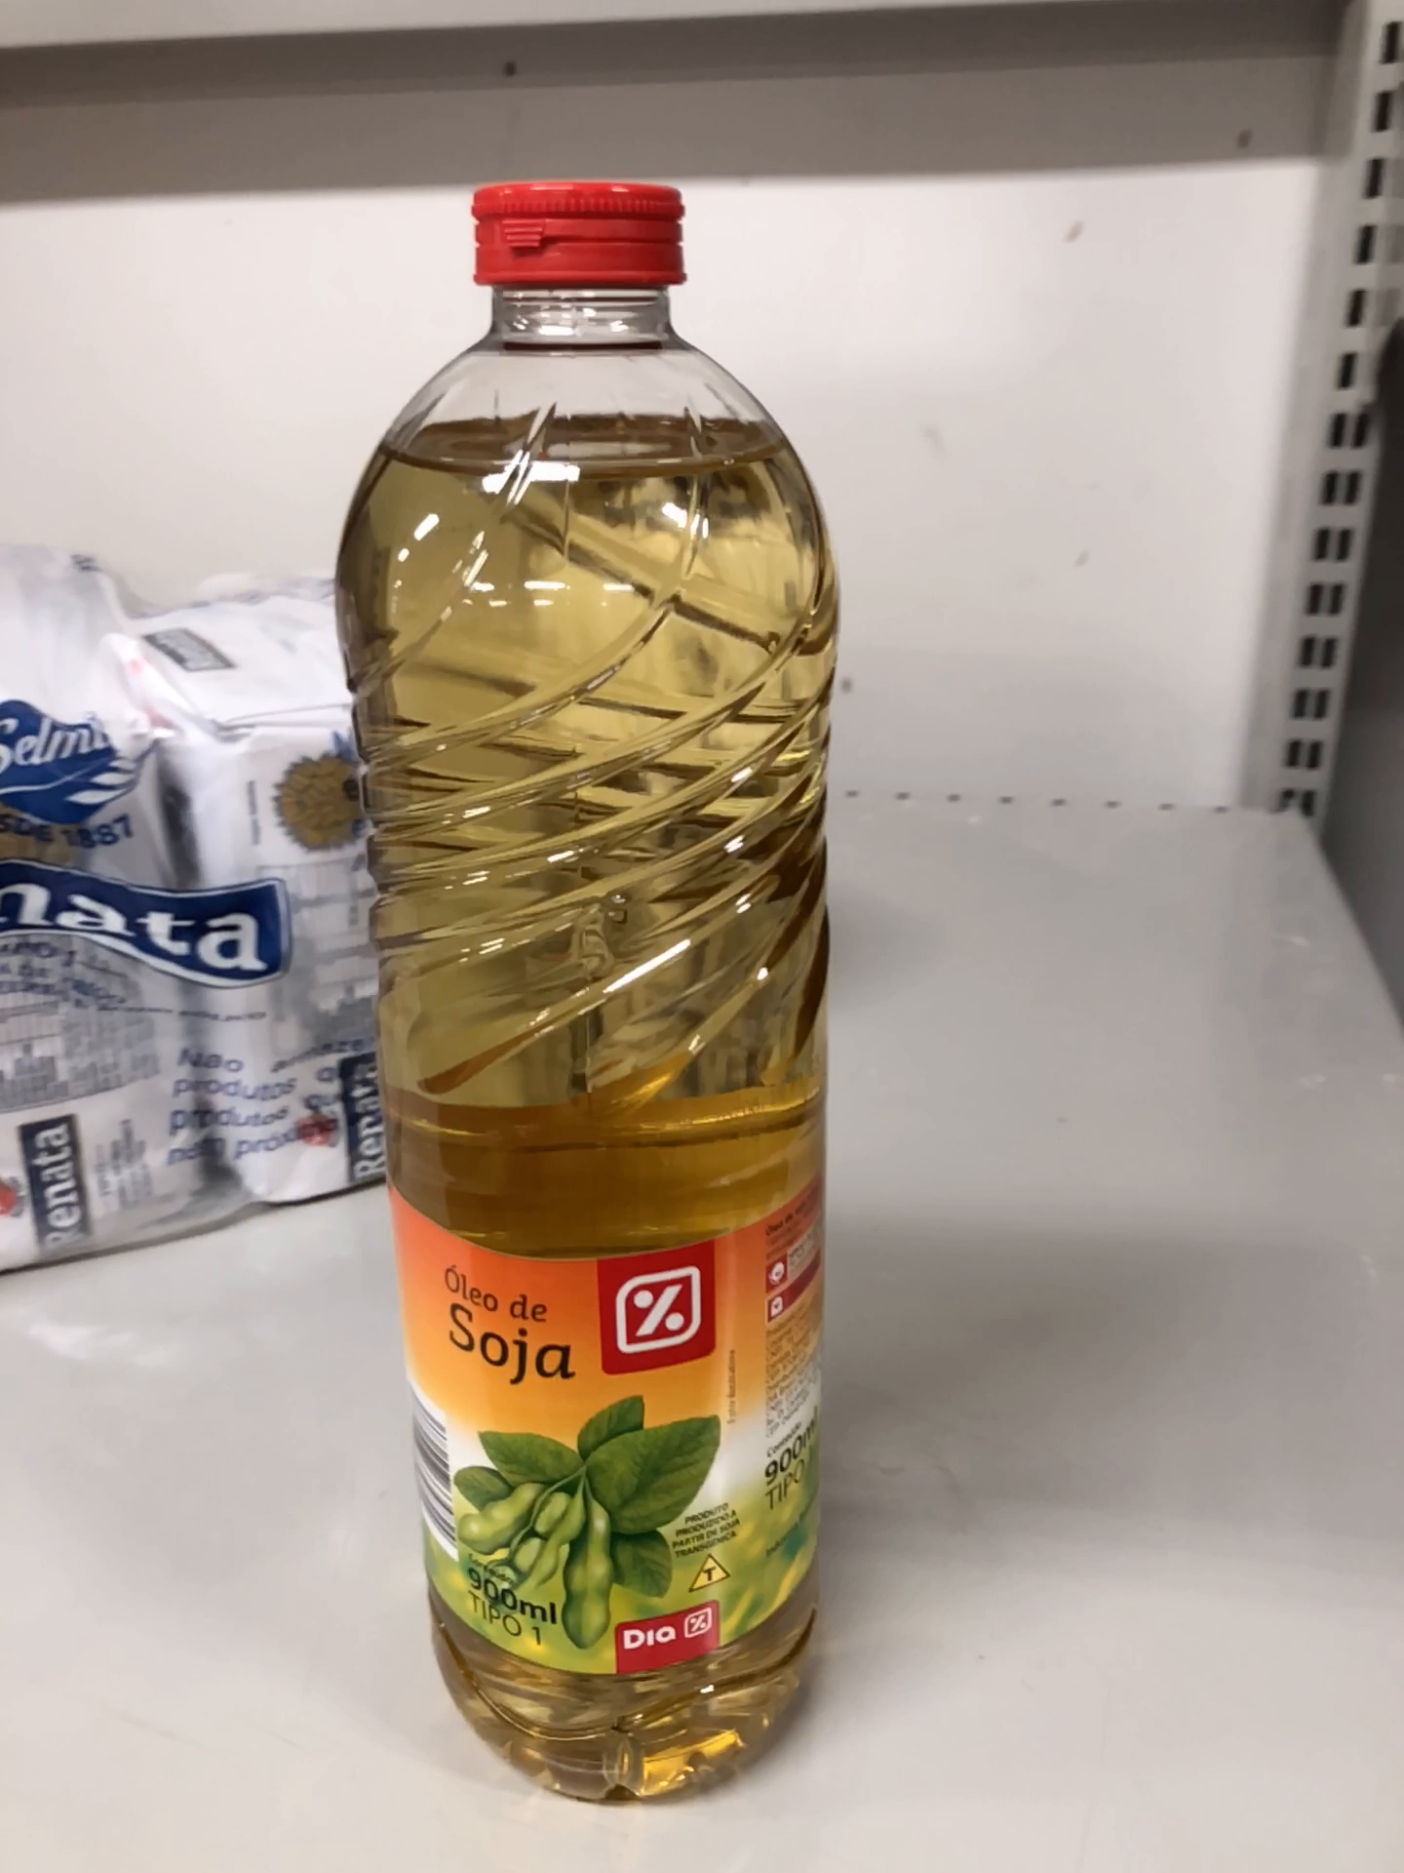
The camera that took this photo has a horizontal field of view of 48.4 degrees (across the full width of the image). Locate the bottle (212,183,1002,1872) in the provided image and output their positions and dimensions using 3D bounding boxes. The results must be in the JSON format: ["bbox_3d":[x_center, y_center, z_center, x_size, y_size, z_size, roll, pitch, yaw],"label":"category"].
[{"bbox_3d":[-0.009,0.022,0.252,0.080,0.258,0.070,9,25,18],"label":"bottle"}]
